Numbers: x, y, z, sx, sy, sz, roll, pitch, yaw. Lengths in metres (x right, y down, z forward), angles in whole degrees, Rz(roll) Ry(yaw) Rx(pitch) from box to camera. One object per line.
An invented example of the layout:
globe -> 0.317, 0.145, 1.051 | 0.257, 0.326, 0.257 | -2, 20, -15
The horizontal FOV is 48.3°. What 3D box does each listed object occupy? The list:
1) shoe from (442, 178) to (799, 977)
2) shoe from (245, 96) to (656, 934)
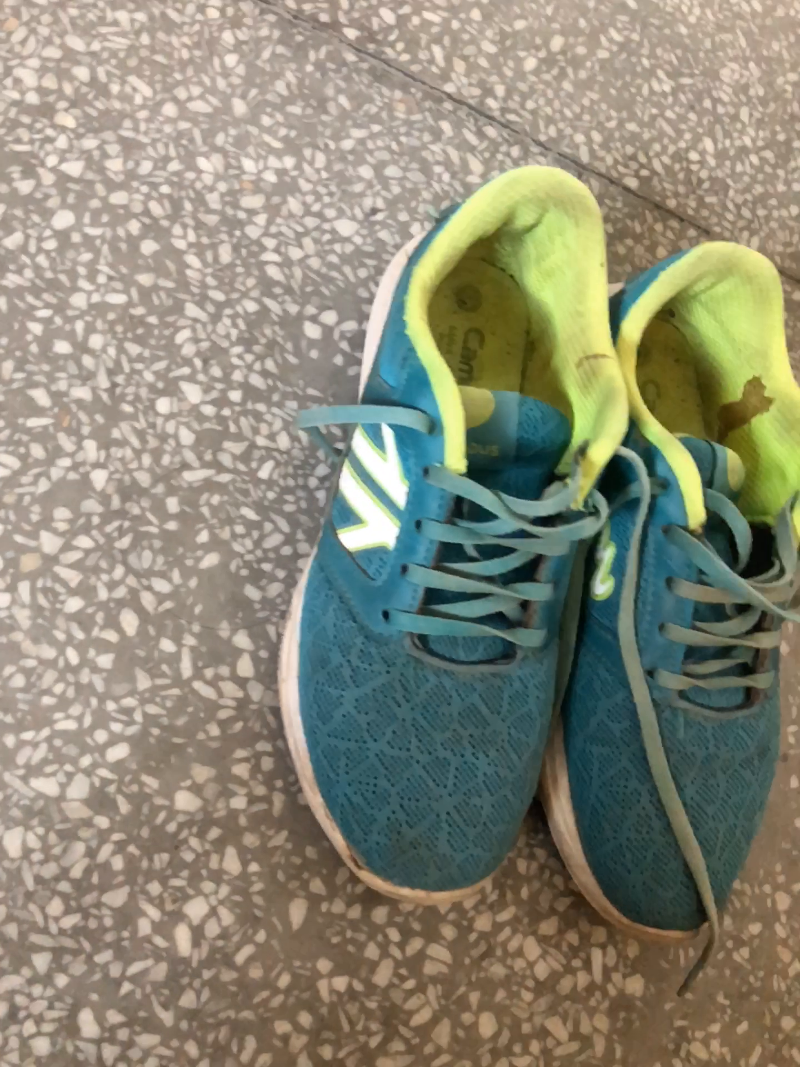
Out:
shoe -> 0.090, 0.016, 0.330 | 0.100, 0.080, 0.250 | 10, 81, -15
shoe -> 0.018, -0.006, 0.299 | 0.090, 0.080, 0.240 | 11, 75, -15
